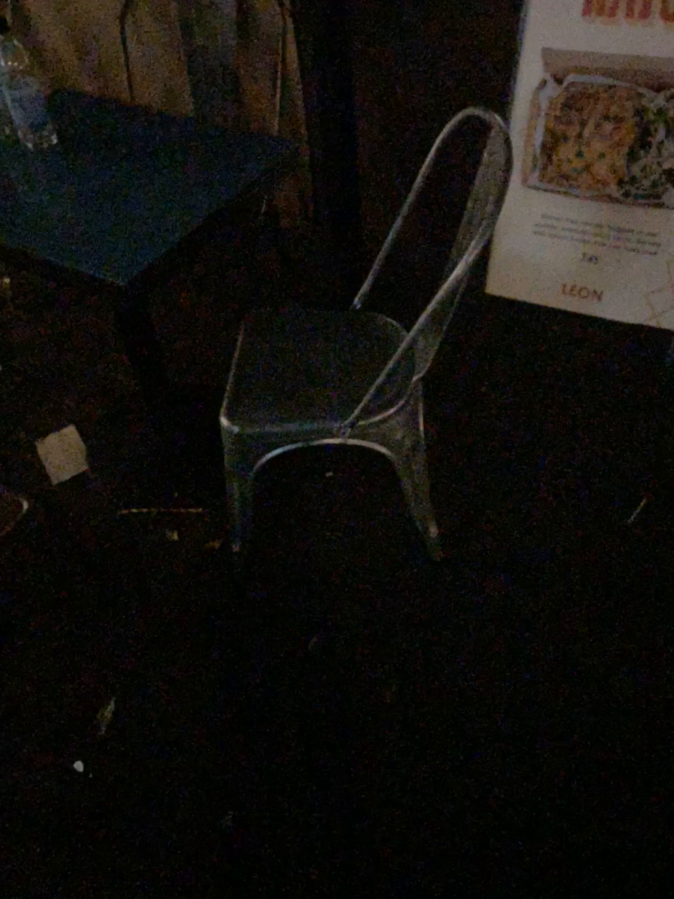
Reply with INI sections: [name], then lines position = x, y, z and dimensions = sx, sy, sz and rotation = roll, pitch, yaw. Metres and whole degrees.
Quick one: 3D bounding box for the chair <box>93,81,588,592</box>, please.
[chair]
position = 0.014, -0.173, 1.273
dimensions = 0.600, 0.723, 0.505
rotation = -5, 47, 1
